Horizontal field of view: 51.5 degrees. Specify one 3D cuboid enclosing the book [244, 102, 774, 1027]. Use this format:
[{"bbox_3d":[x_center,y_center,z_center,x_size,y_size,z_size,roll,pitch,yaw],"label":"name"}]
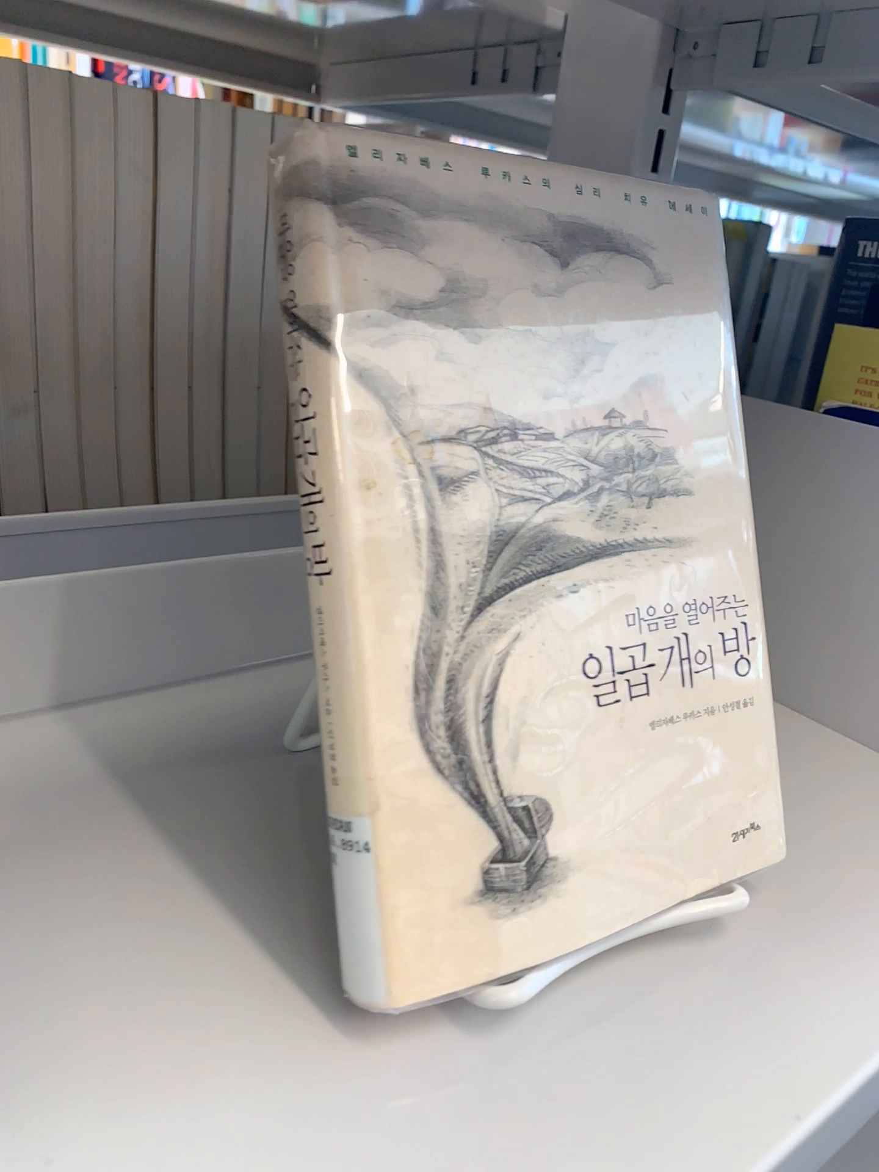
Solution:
[{"bbox_3d":[0.027,-0.009,0.233,0.137,0.192,0.019,-6,2,-32],"label":"book"}]
